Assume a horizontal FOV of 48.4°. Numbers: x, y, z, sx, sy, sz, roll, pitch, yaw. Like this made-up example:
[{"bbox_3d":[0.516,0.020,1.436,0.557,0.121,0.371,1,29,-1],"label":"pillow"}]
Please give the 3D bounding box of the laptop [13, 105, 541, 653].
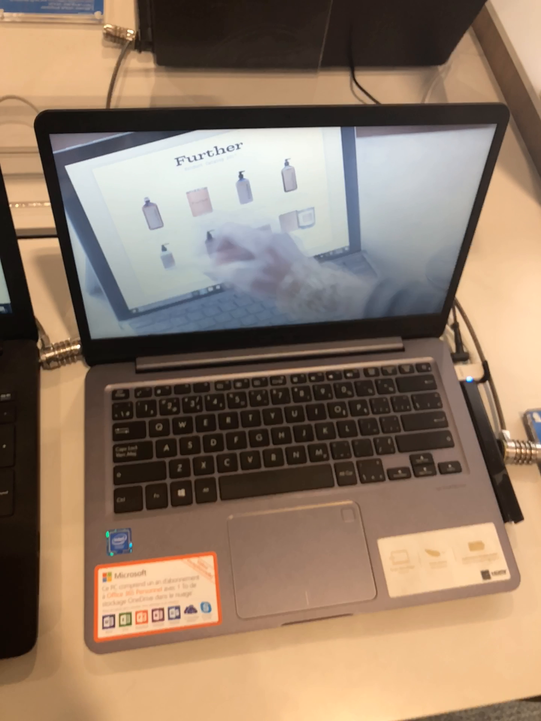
[{"bbox_3d":[0.024,0.011,0.417,0.316,0.197,0.291,-5,63,-9],"label":"laptop"}]
